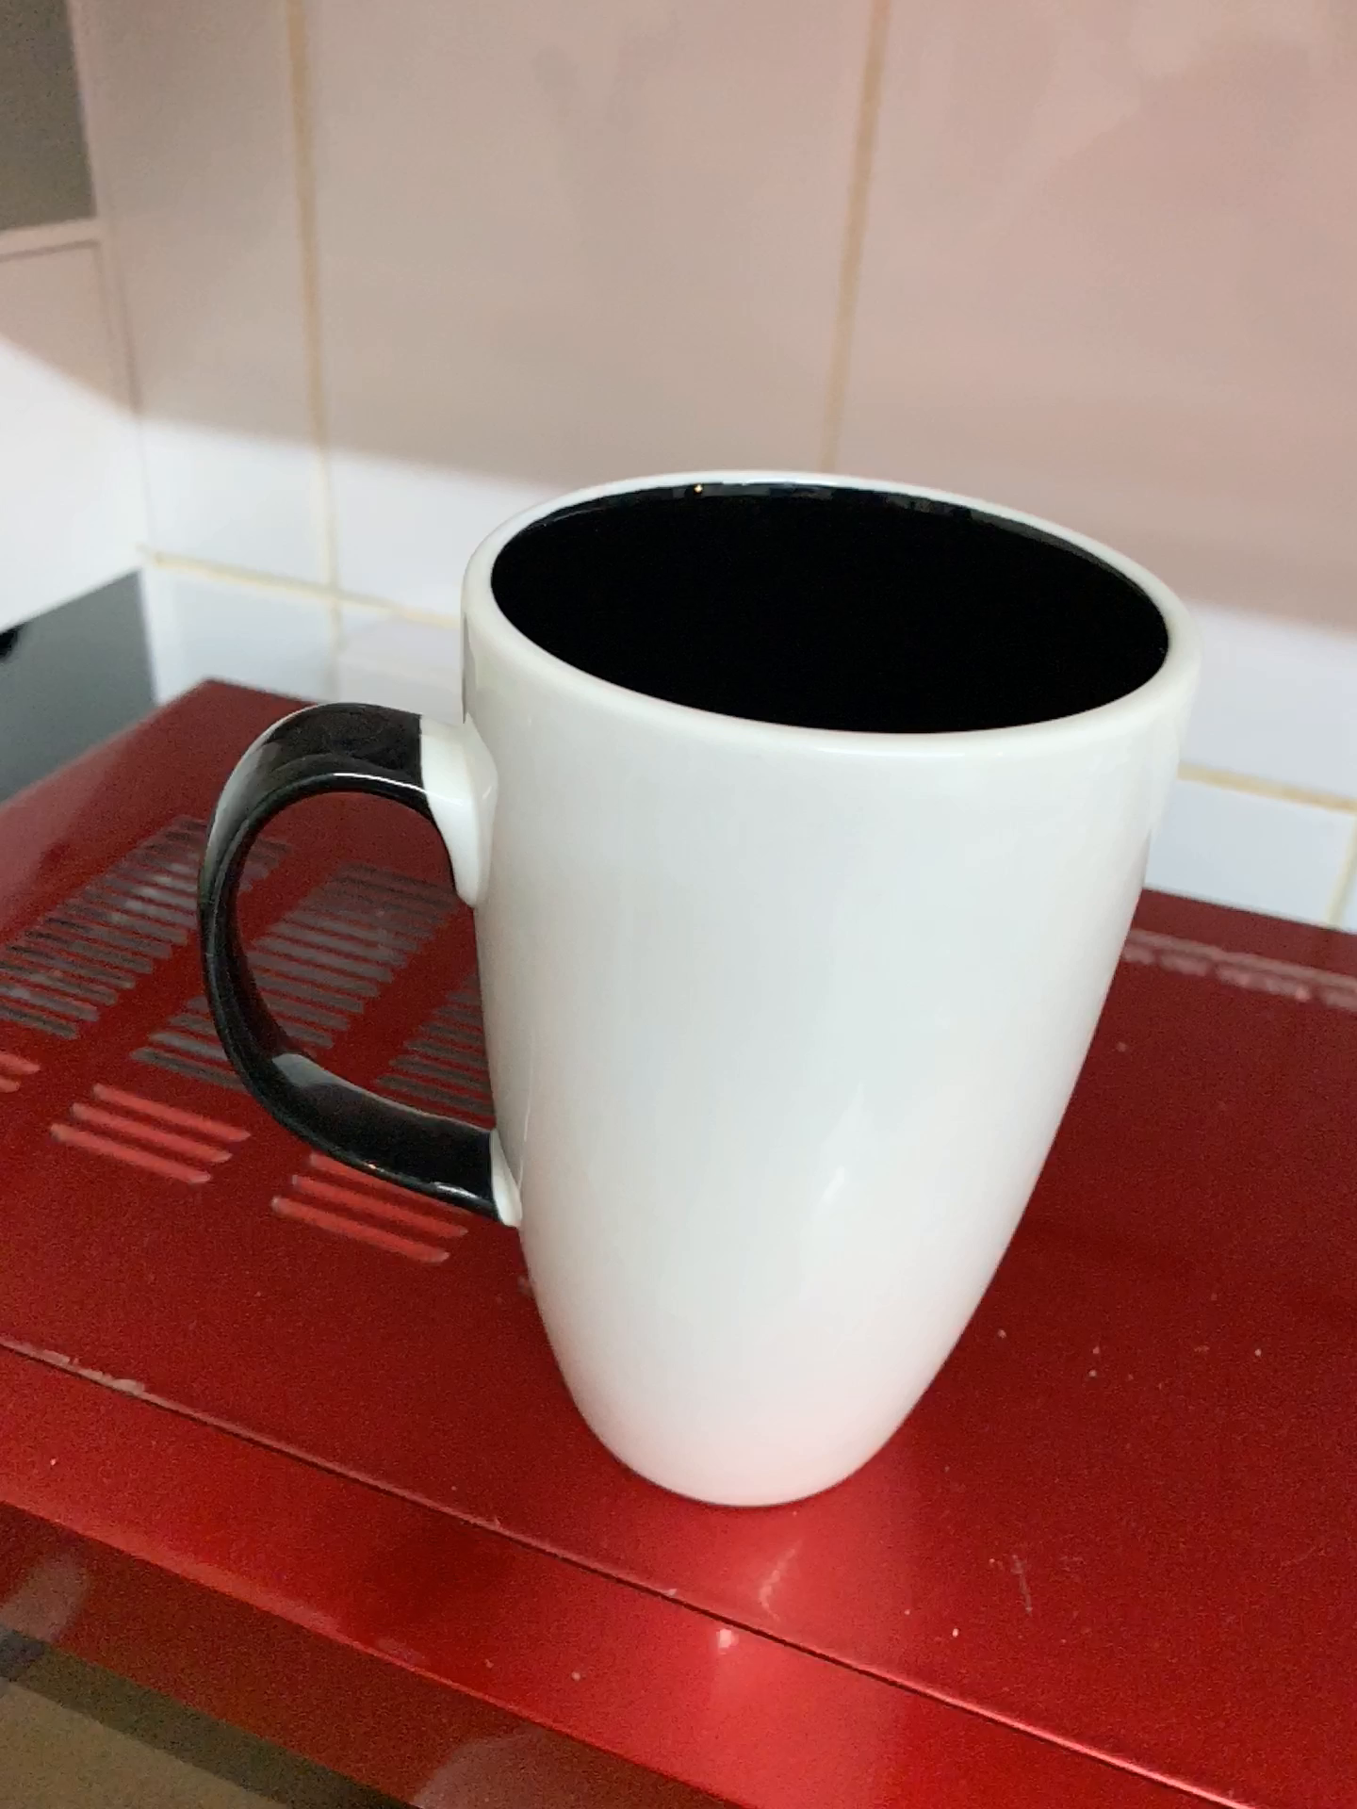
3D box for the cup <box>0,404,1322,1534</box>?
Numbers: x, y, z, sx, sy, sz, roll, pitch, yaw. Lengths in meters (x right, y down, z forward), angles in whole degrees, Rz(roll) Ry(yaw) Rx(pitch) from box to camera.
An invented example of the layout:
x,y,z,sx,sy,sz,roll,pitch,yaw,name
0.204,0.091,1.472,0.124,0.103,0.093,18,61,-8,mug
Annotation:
x,y,z,sx,sy,sz,roll,pitch,yaw,name
-0.006,0.008,0.209,0.130,0.129,0.091,3,32,-1,cup
